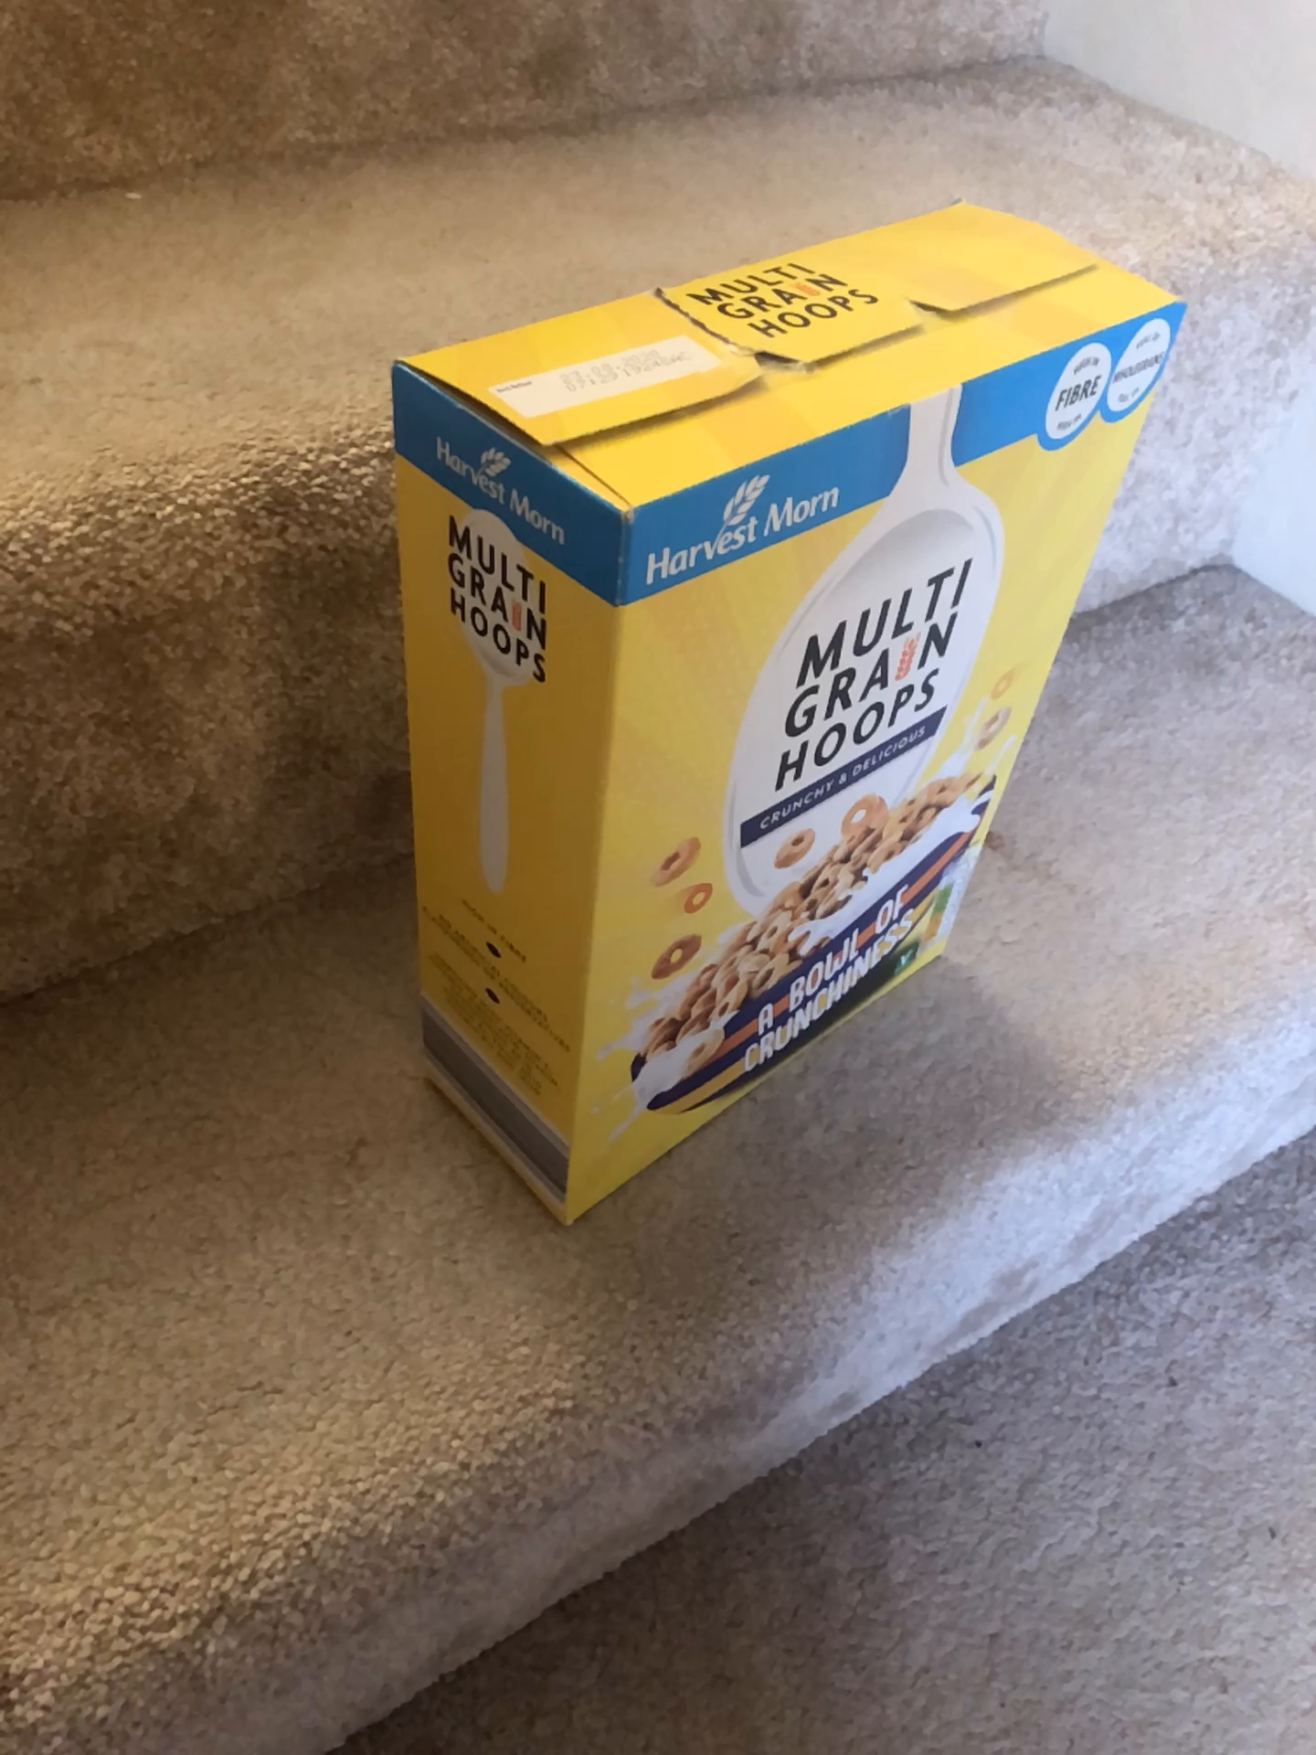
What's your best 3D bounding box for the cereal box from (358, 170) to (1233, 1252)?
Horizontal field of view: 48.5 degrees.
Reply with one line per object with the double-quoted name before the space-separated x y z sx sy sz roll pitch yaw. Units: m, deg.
"cereal box" 0.029 -0.043 0.425 0.201 0.248 0.090 -31 57 -31
